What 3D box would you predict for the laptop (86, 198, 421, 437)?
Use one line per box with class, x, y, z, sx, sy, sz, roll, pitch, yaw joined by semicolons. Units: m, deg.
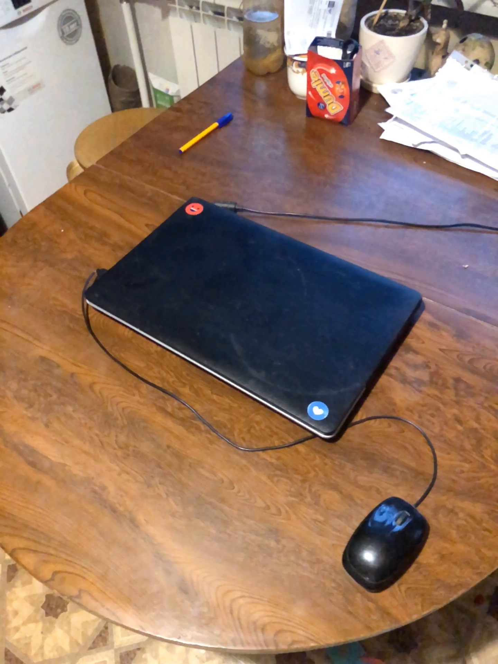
laptop;0.003;-0.046;0.720;0.366;0.007;0.239;28;59;21
